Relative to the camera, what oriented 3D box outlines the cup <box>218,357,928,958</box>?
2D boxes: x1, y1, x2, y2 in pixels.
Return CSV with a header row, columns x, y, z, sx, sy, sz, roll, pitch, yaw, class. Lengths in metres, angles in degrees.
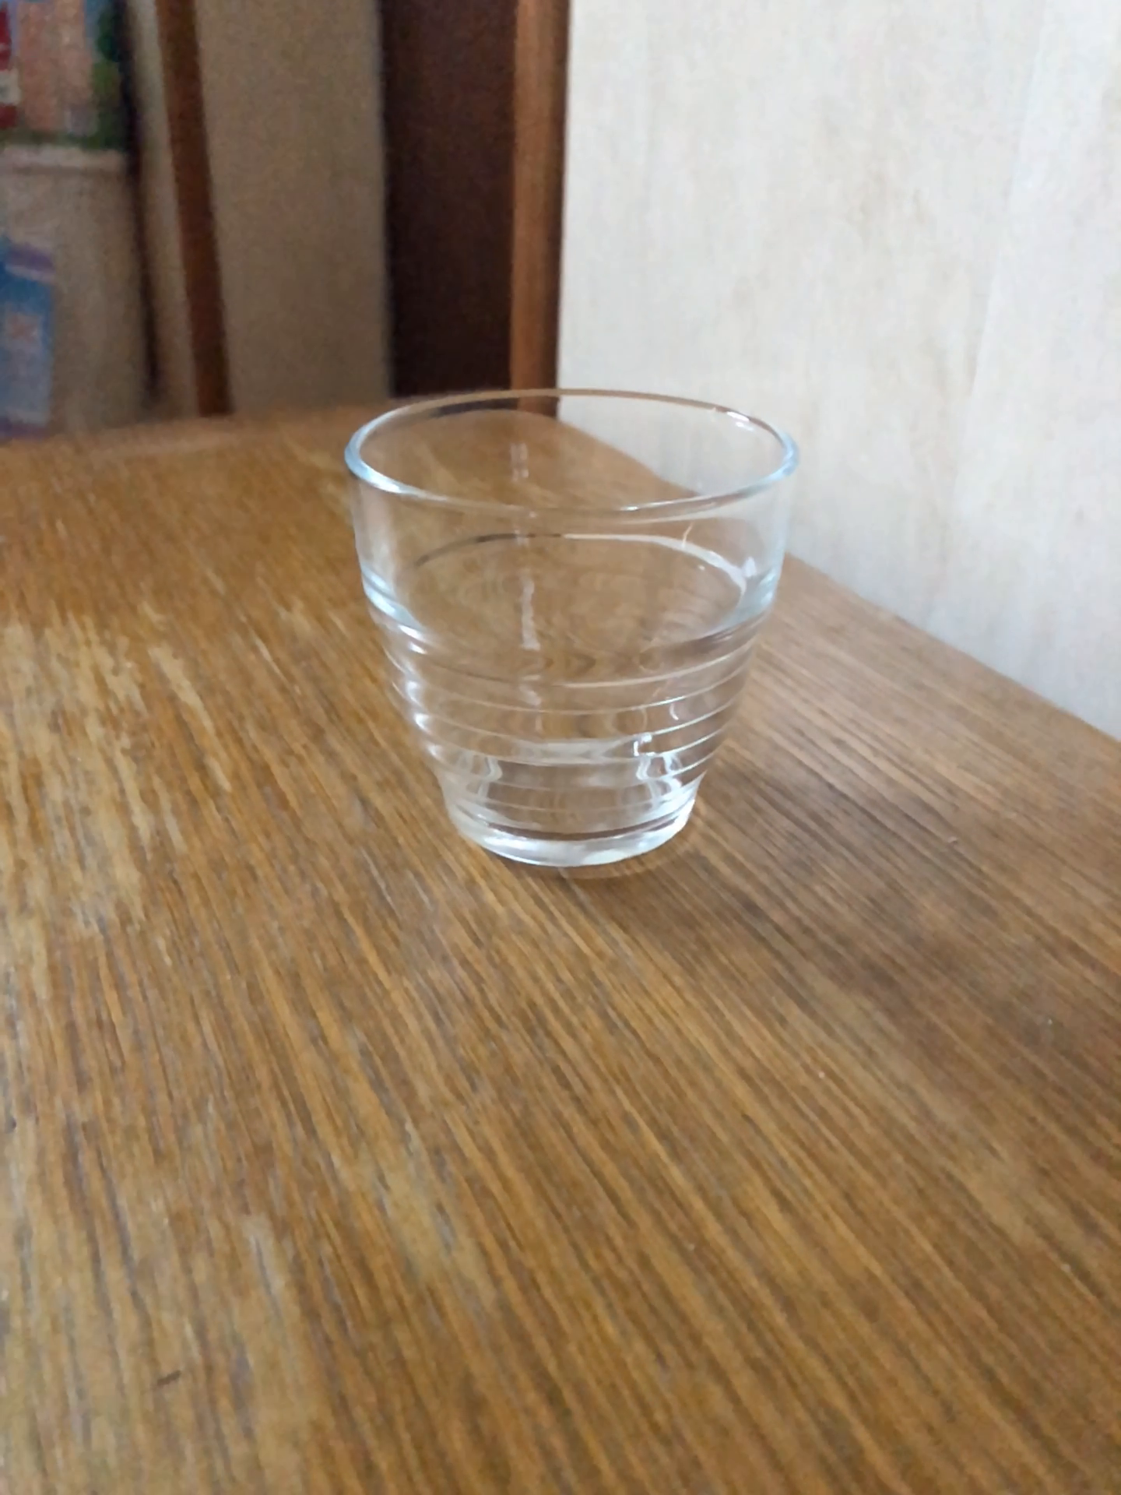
x,y,z,sx,sy,sz,roll,pitch,yaw,class
0.002,-0.024,0.214,0.080,0.060,0.080,2,29,-1,cup
